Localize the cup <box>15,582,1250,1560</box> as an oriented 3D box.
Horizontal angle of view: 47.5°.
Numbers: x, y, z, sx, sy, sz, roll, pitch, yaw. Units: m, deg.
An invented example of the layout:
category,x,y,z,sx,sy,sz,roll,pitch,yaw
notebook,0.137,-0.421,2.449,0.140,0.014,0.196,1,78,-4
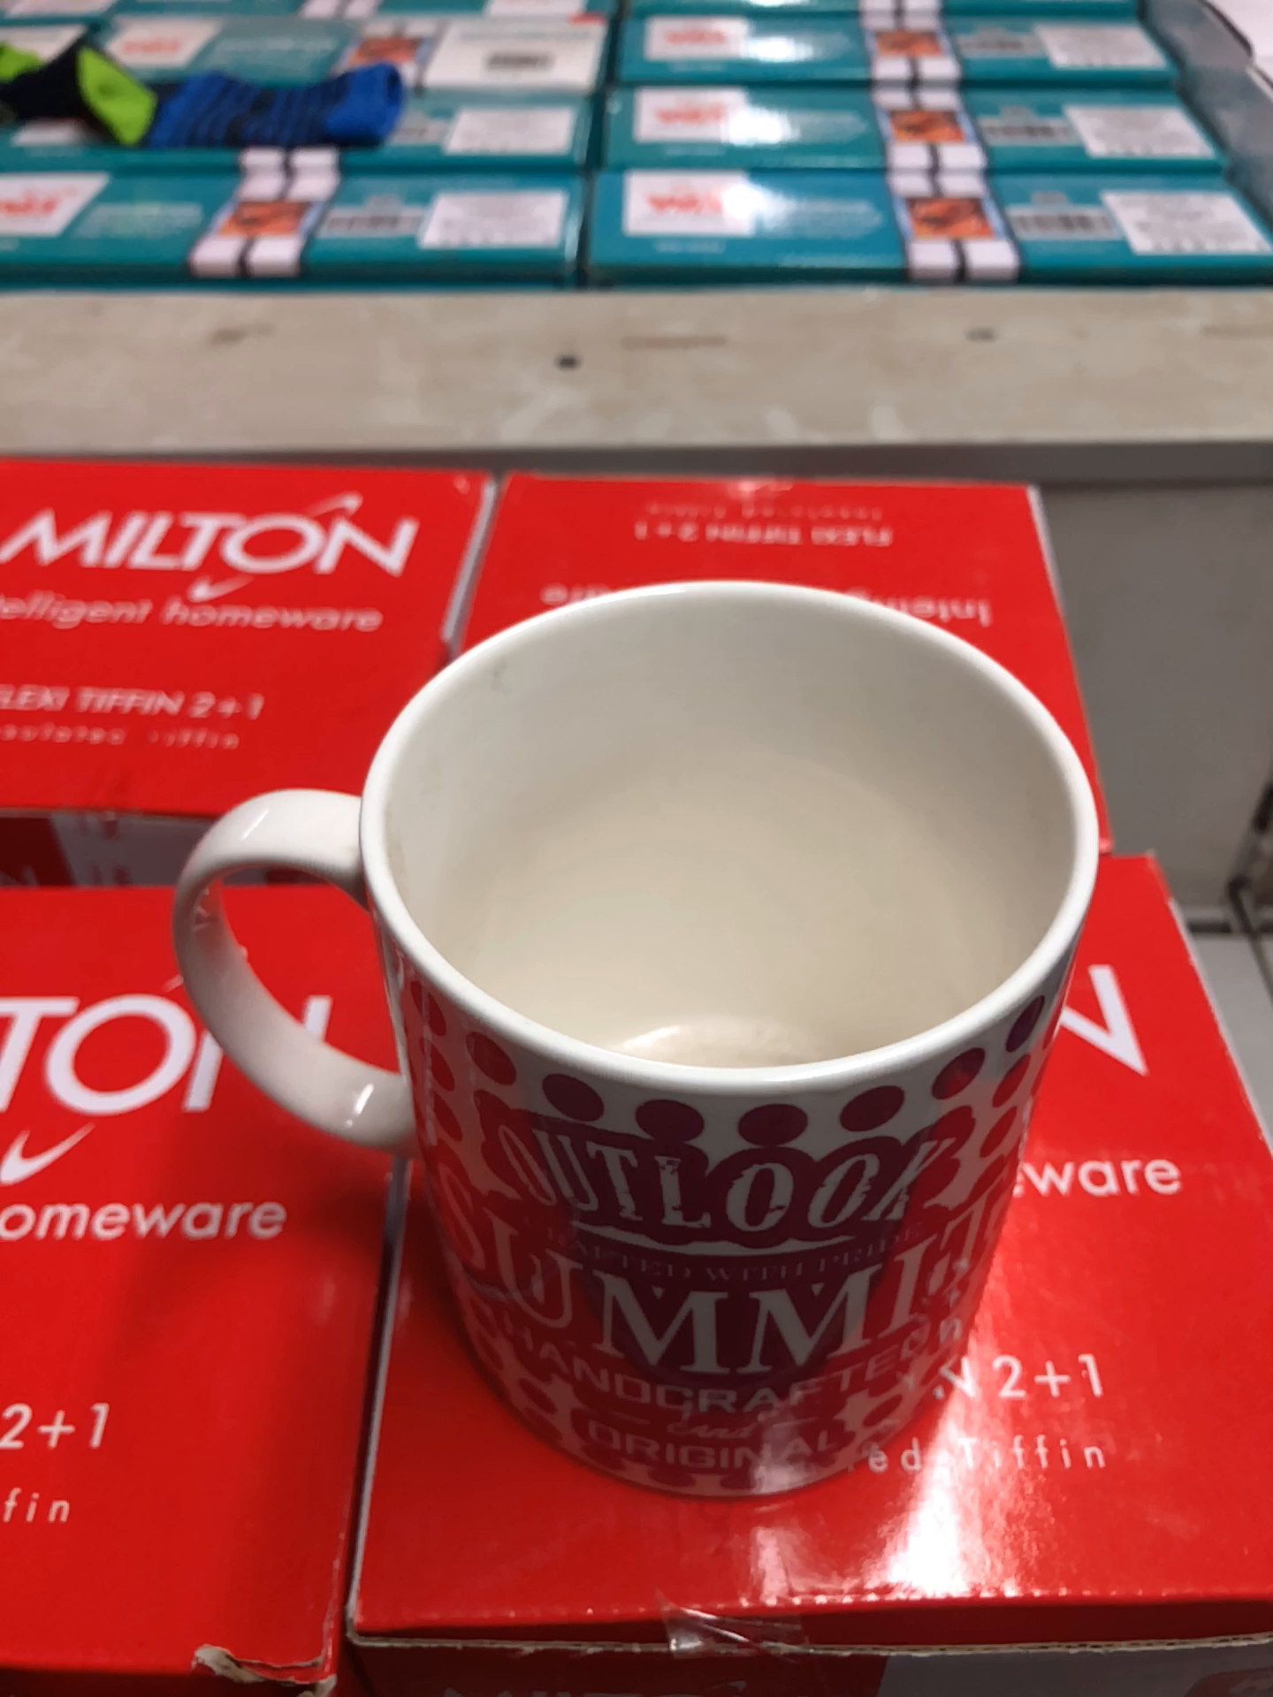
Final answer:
category,x,y,z,sx,sy,sz,roll,pitch,yaw
cup,0.002,0.031,0.192,0.110,0.099,0.081,2,45,3
